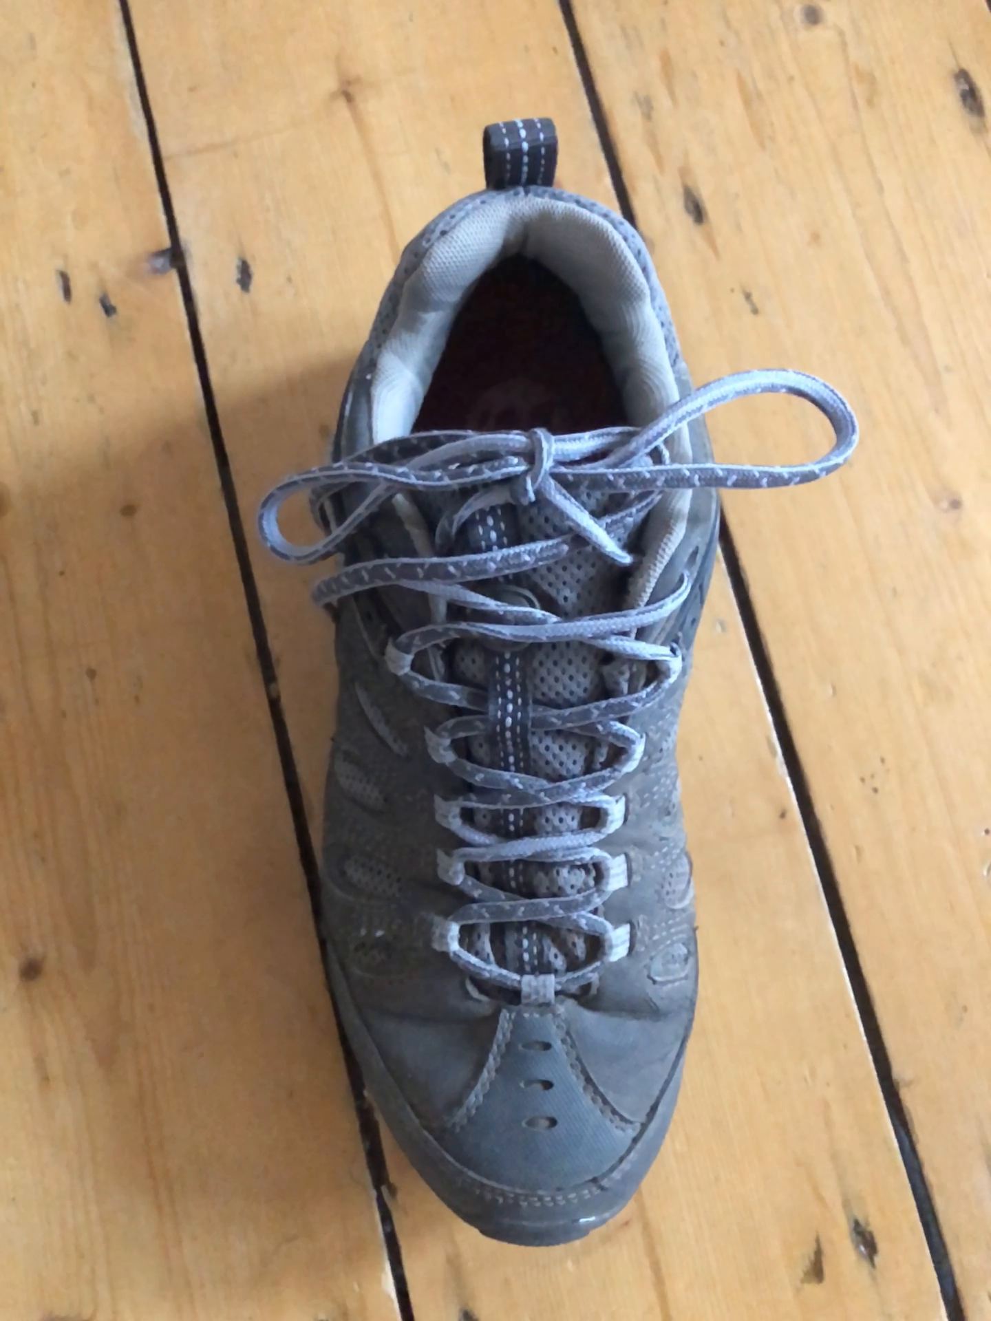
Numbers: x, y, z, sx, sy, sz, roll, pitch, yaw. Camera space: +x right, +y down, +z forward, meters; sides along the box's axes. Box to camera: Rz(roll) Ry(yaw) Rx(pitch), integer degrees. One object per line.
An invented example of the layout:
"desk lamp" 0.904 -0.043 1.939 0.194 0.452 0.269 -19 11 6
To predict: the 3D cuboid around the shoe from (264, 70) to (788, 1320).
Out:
"shoe" 0.004 0.009 0.289 0.100 0.110 0.280 -1 80 0
